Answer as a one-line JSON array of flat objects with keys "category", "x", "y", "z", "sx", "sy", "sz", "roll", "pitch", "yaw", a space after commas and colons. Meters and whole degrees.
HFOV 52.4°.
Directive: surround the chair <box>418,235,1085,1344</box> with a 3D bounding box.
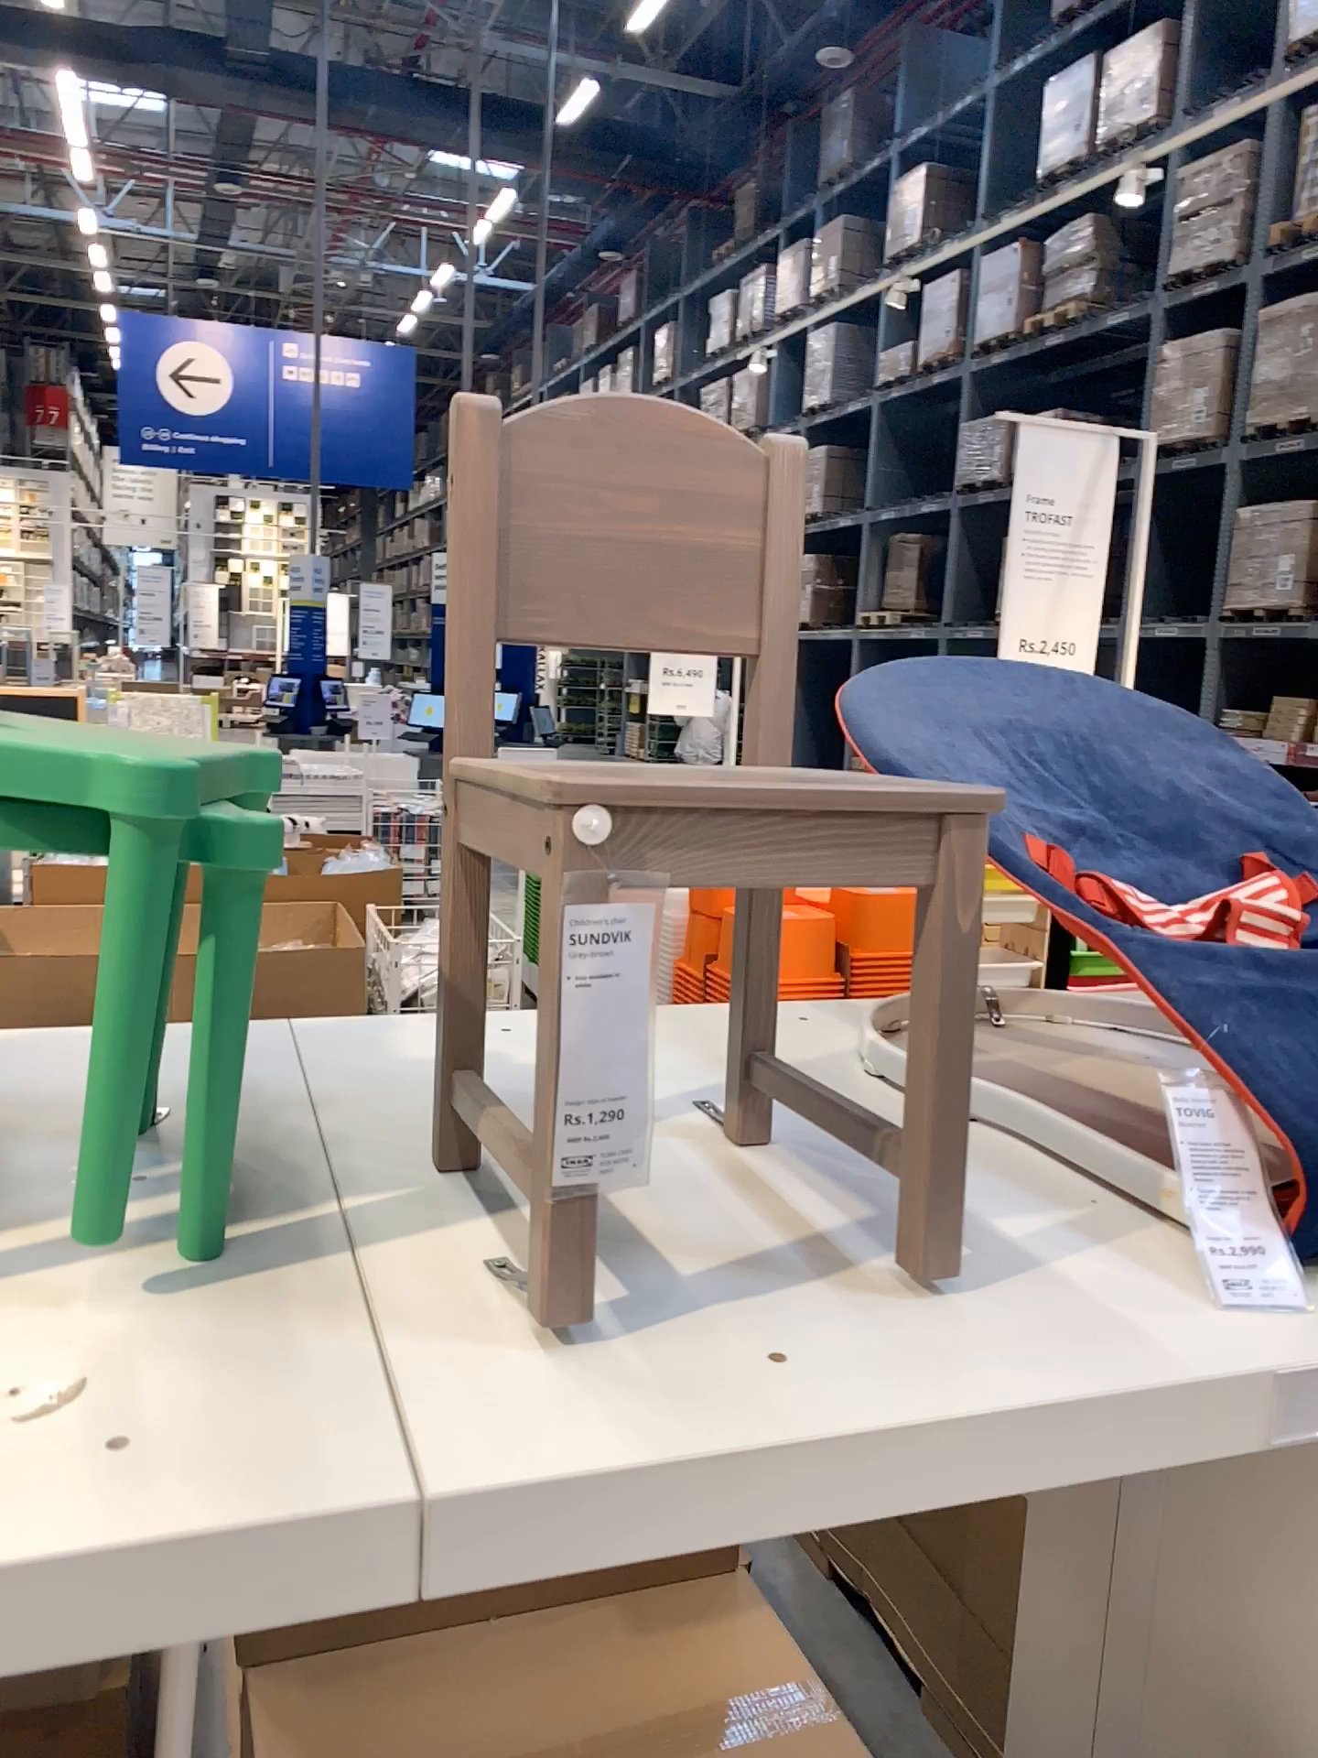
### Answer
[{"category": "chair", "x": 0.022, "y": -0.055, "z": 0.822, "sx": 0.270, "sy": 0.519, "sz": 0.321, "roll": -1, "pitch": 9, "yaw": -21}]
